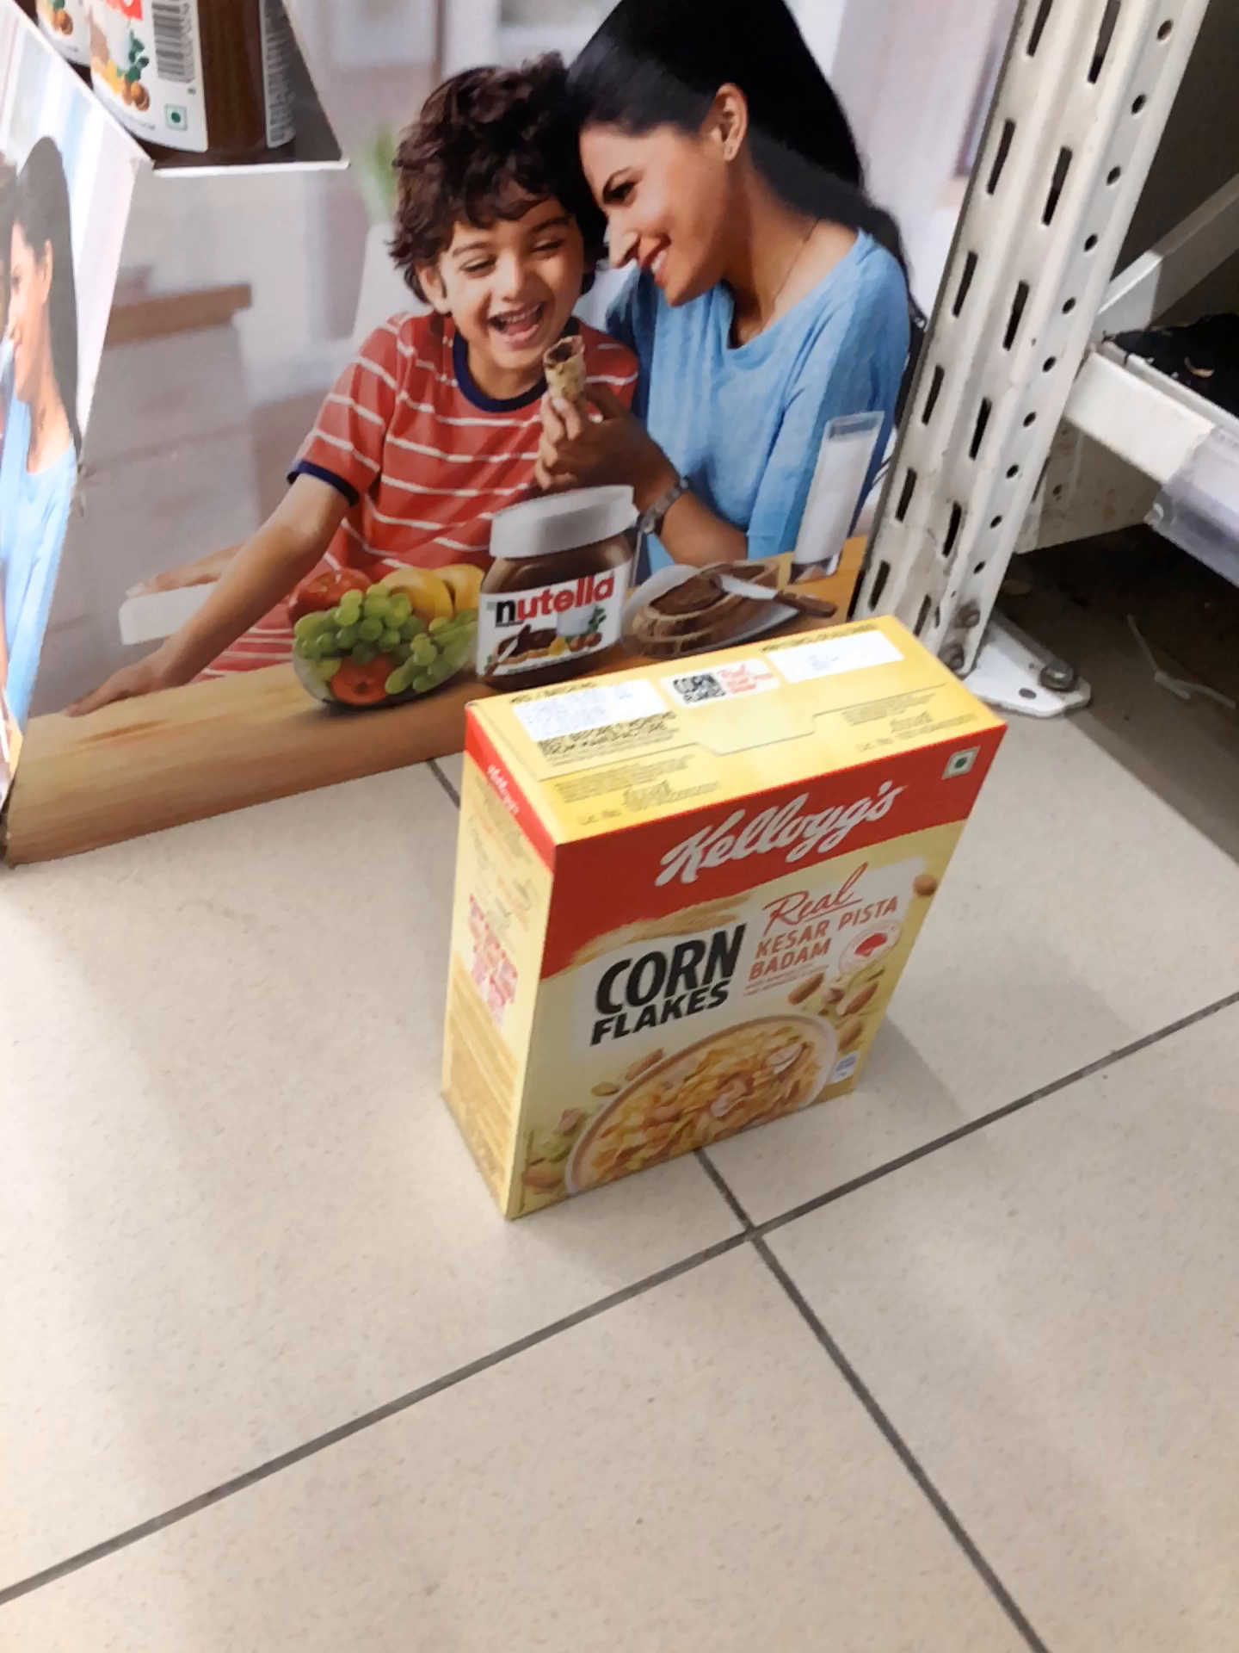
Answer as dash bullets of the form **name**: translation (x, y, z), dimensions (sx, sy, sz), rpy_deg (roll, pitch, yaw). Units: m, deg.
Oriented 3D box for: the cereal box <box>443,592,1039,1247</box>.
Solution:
- **cereal box**: translation (0.027, 0.030, 0.411), dimensions (0.141, 0.169, 0.060), rpy_deg (-16, 48, -26)
